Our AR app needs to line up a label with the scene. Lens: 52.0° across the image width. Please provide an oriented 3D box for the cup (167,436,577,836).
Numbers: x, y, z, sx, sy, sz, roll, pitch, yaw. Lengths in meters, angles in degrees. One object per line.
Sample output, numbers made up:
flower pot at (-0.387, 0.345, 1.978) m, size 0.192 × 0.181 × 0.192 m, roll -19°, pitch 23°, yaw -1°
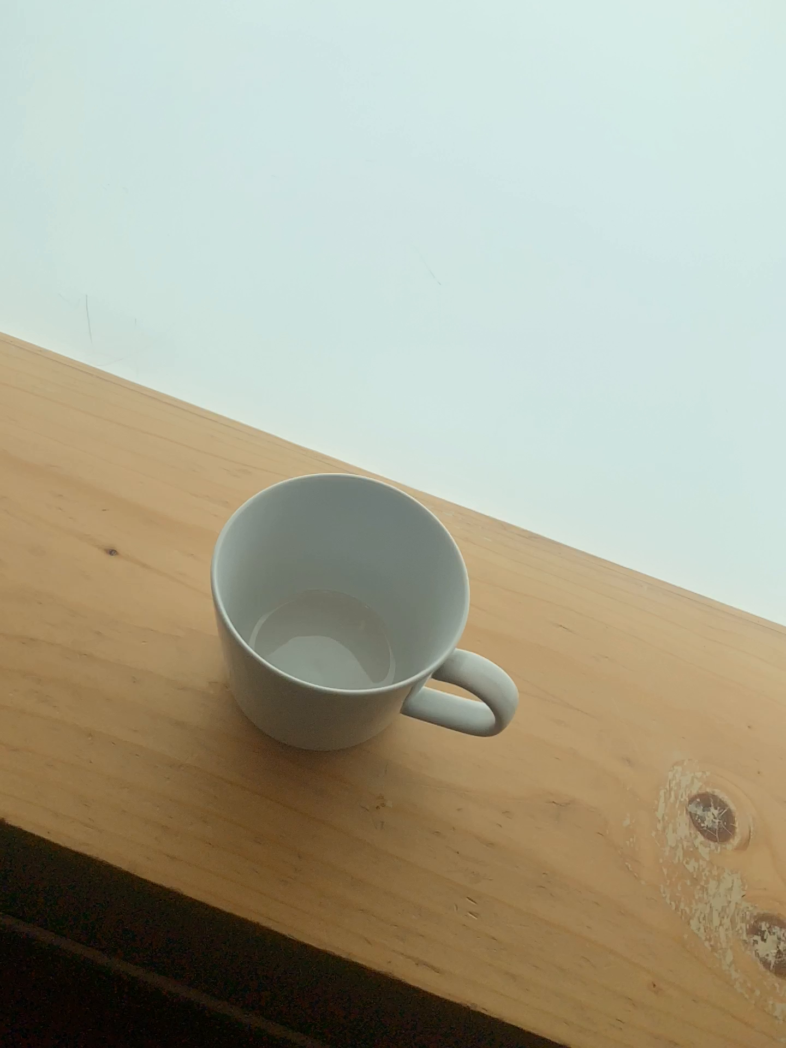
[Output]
cup at (-0.010, 0.046, 0.337) m, size 0.130 × 0.080 × 0.090 m, roll 27°, pitch 54°, yaw 7°
